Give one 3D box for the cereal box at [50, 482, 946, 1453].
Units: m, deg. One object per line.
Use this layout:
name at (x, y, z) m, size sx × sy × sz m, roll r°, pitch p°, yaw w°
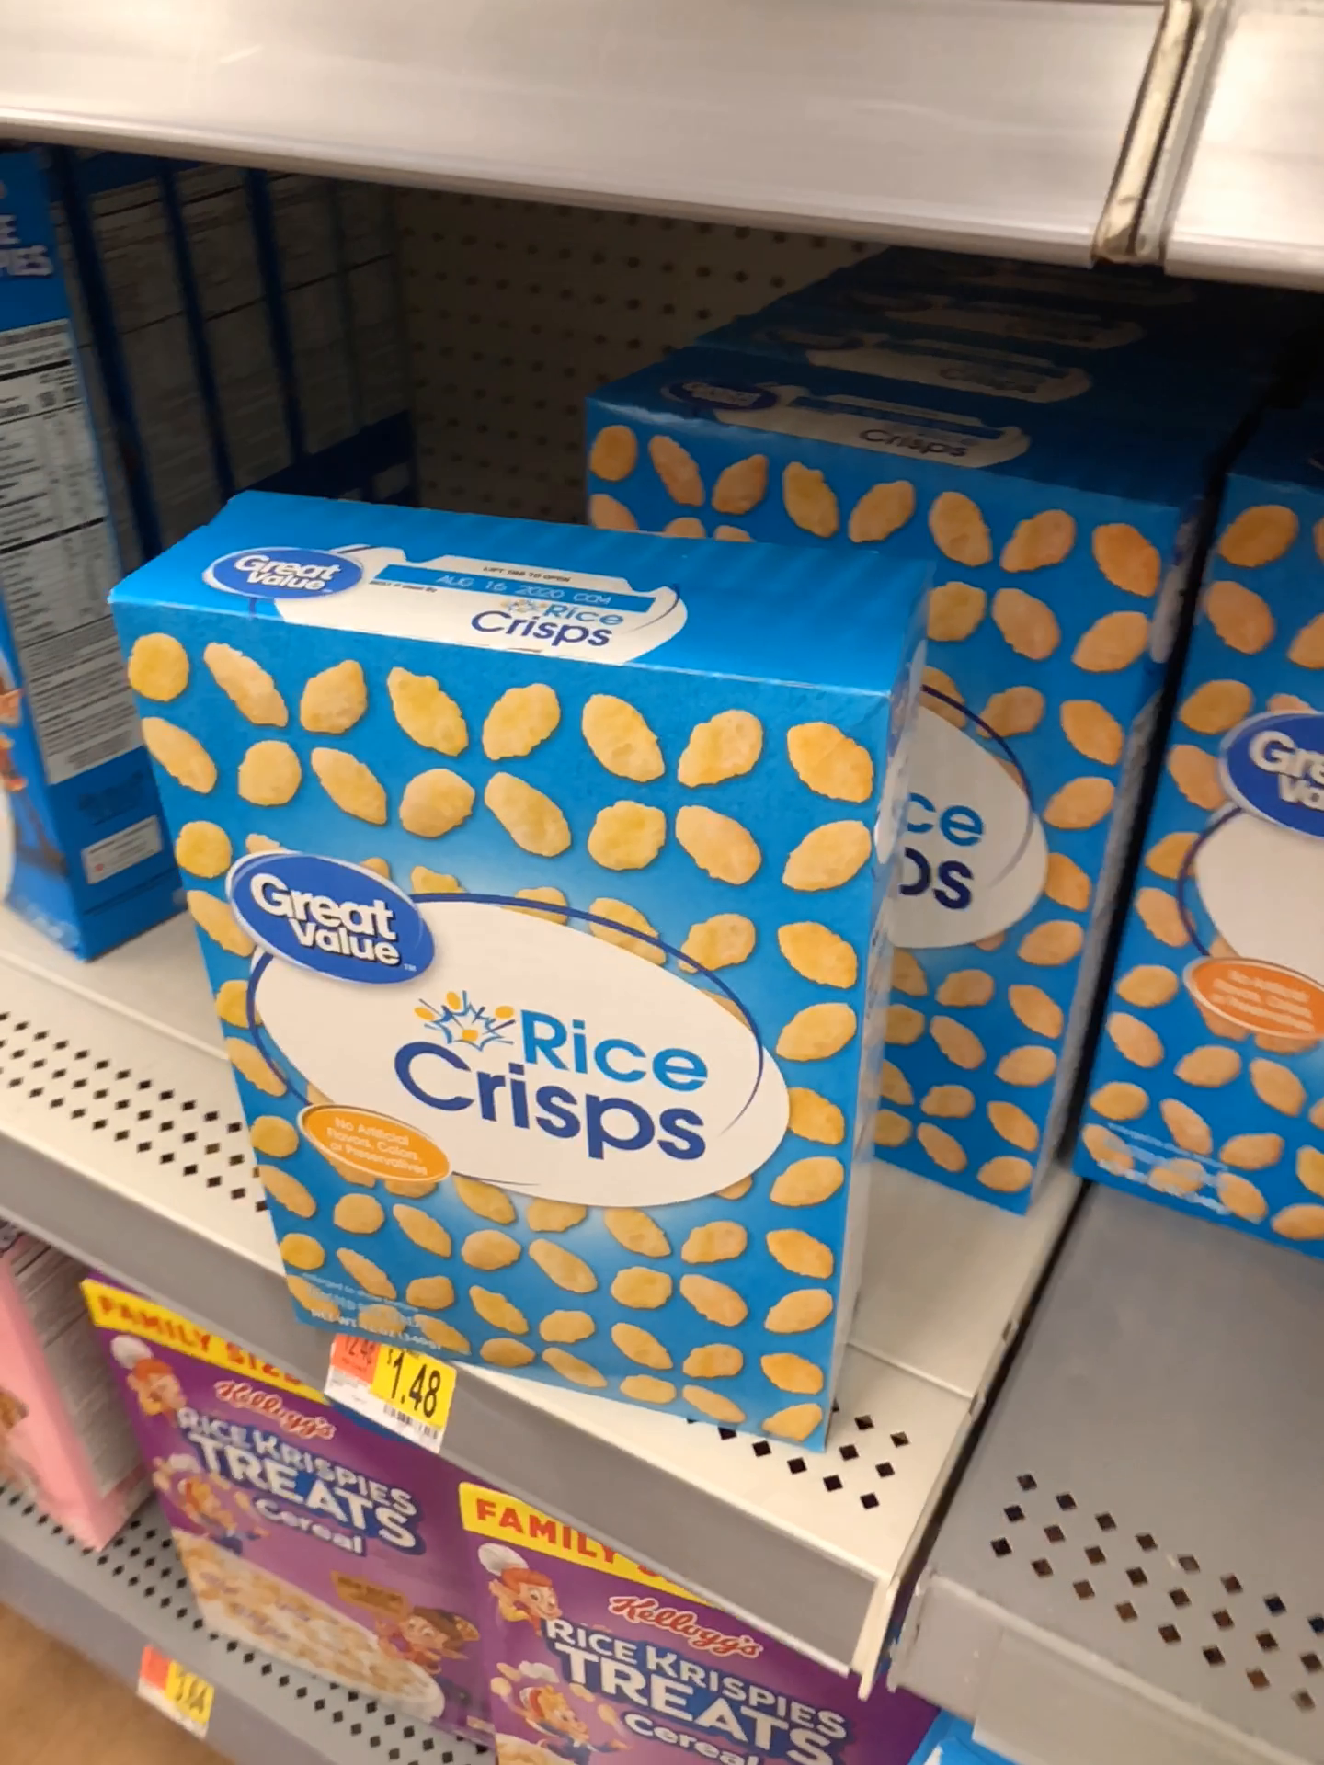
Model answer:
cereal box at (-0.034, 0.034, 0.427) m, size 0.200 × 0.269 × 0.070 m, roll 9°, pitch 38°, yaw 14°
